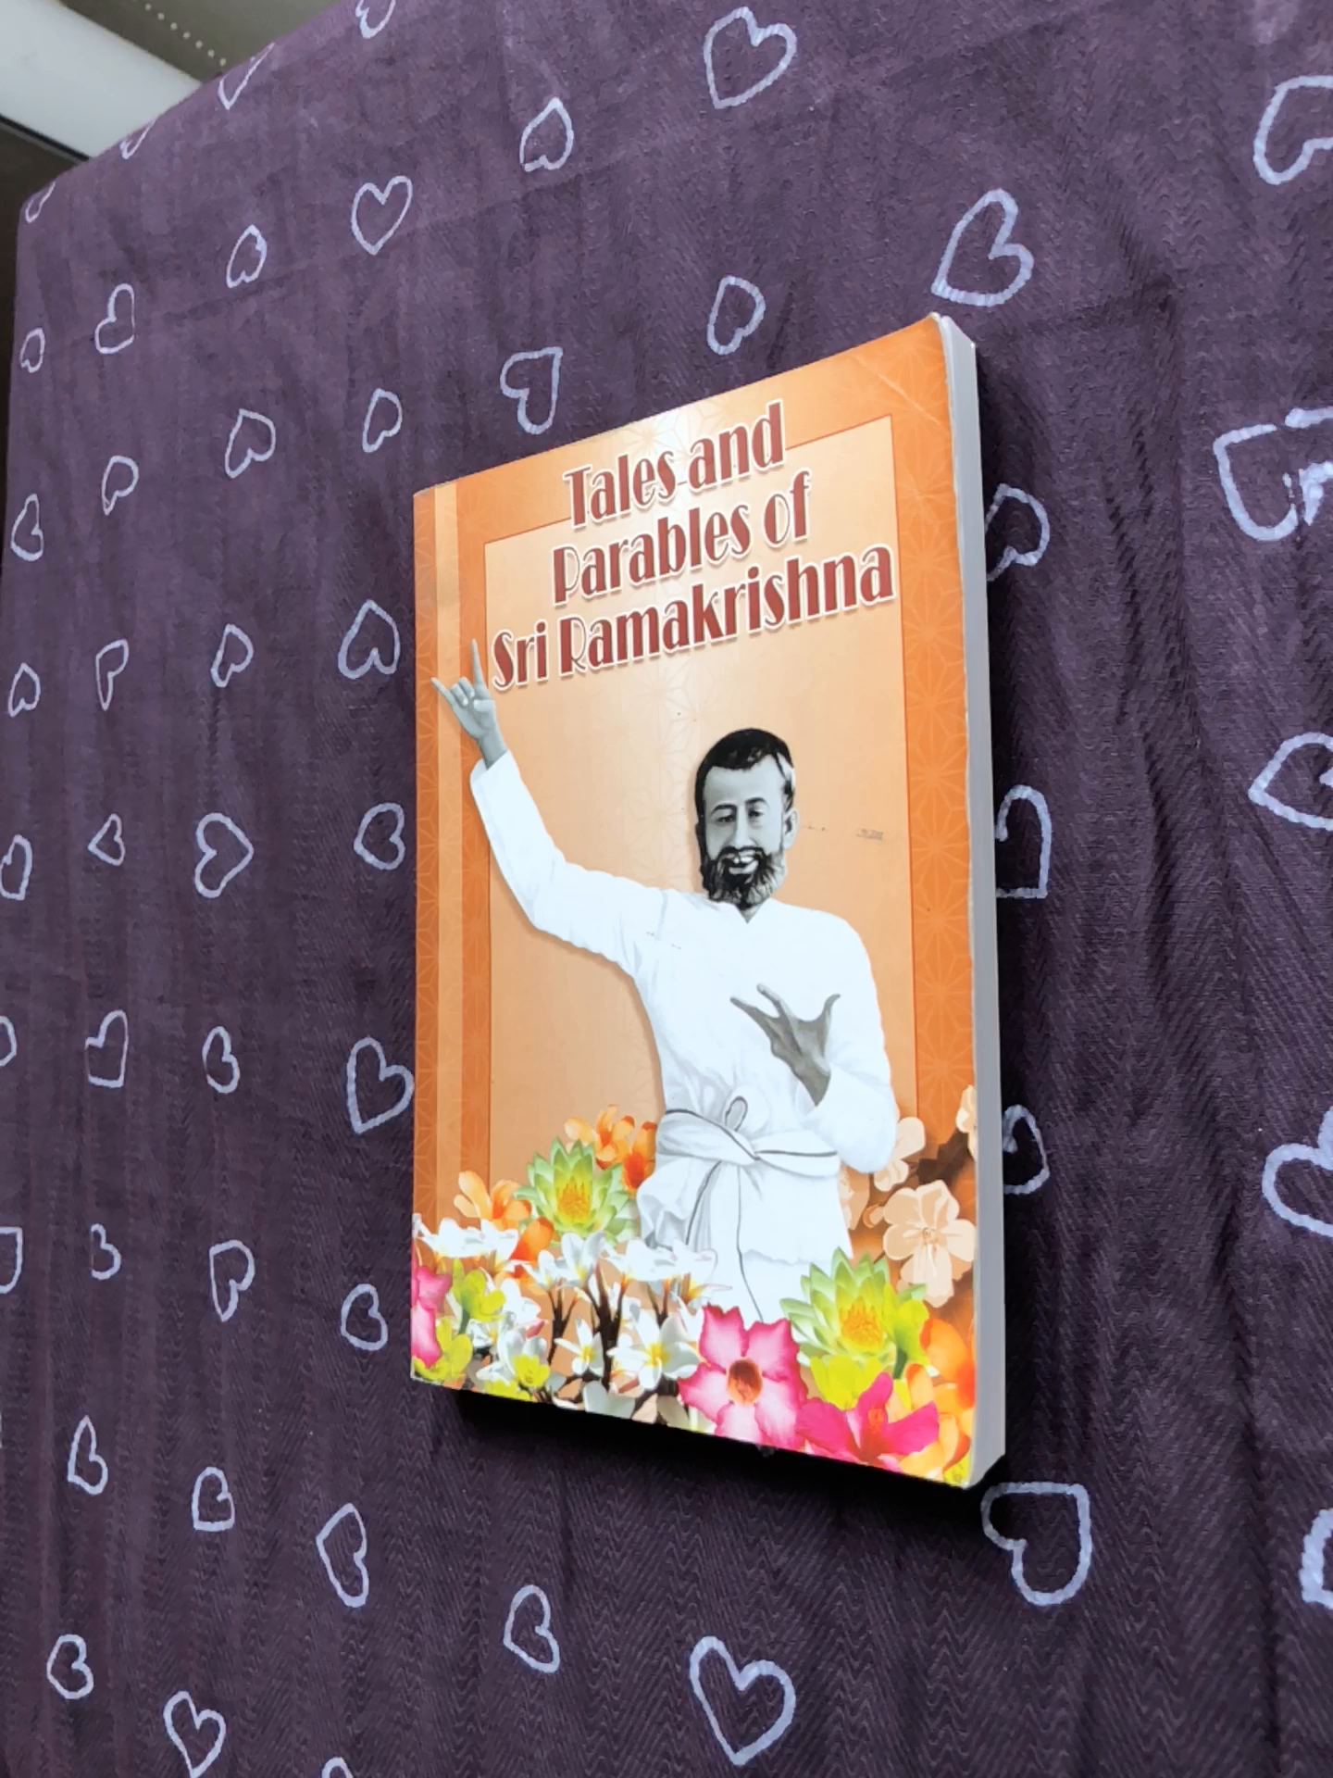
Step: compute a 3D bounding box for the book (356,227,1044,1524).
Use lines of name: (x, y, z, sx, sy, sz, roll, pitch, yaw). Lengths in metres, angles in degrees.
book: (-0.002, -0.001, 0.263, 0.131, 0.020, 0.190, -5, 82, 37)
